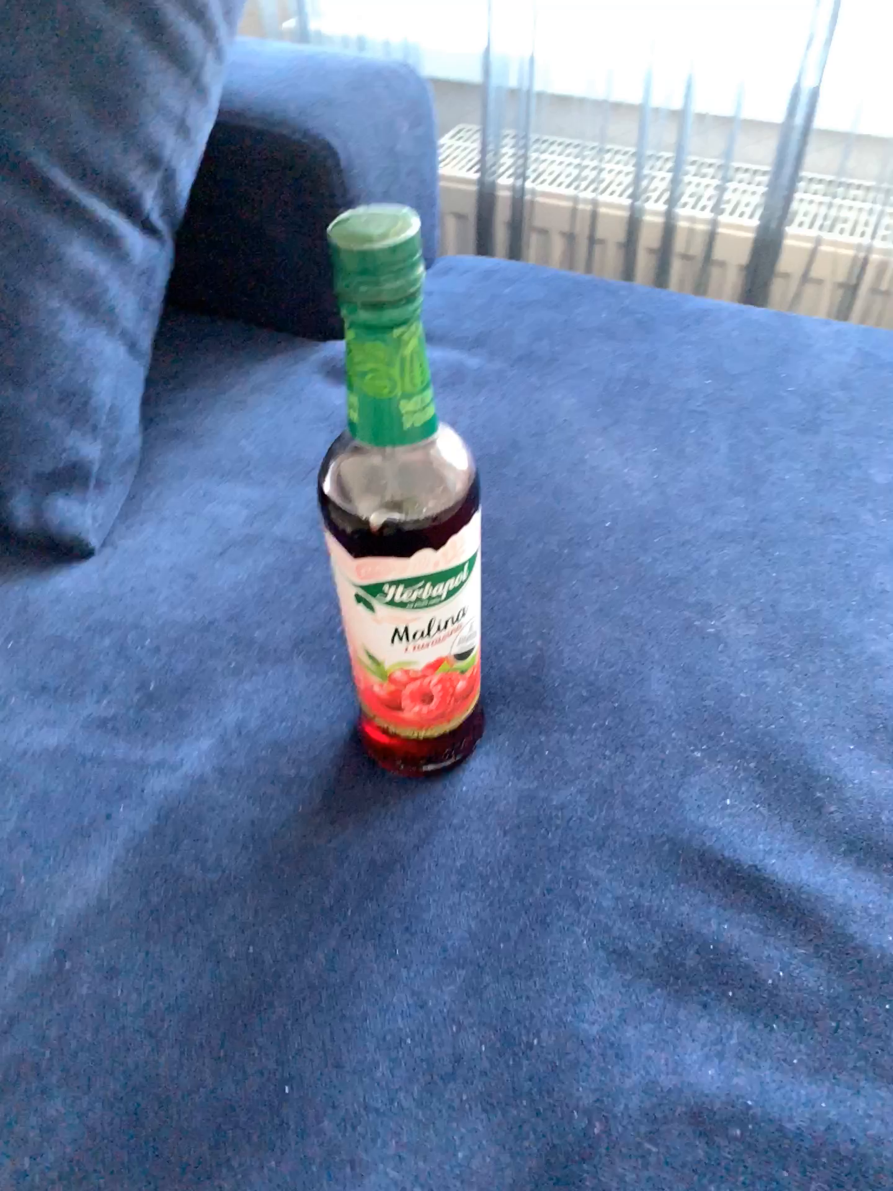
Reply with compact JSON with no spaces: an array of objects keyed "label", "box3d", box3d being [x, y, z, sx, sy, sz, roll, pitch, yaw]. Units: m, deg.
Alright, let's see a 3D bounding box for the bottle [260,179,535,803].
[{"label":"bottle","box3d":[-0.015,-0.022,0.368,0.070,0.249,0.070,-1,45,1]}]
